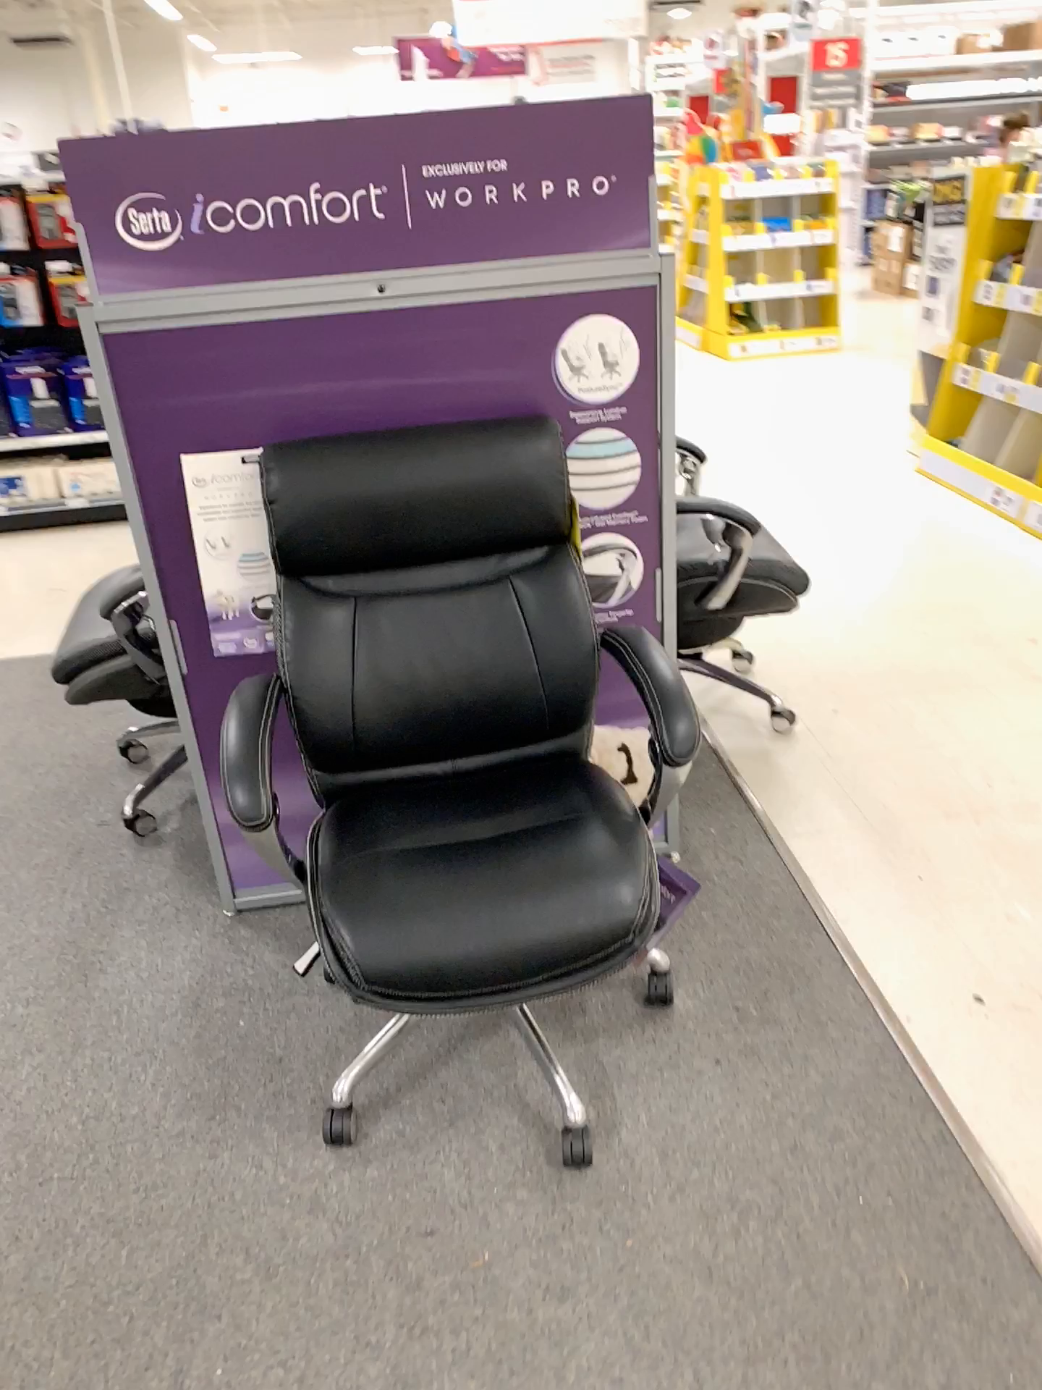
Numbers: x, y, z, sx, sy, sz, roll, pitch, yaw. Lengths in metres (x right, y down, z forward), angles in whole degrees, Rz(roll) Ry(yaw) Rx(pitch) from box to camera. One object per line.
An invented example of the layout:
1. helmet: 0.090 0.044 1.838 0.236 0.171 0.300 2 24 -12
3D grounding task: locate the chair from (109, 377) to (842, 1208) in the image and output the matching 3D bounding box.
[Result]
1. chair: -0.049 0.095 1.637 0.770 0.955 0.724 -6 26 -5
